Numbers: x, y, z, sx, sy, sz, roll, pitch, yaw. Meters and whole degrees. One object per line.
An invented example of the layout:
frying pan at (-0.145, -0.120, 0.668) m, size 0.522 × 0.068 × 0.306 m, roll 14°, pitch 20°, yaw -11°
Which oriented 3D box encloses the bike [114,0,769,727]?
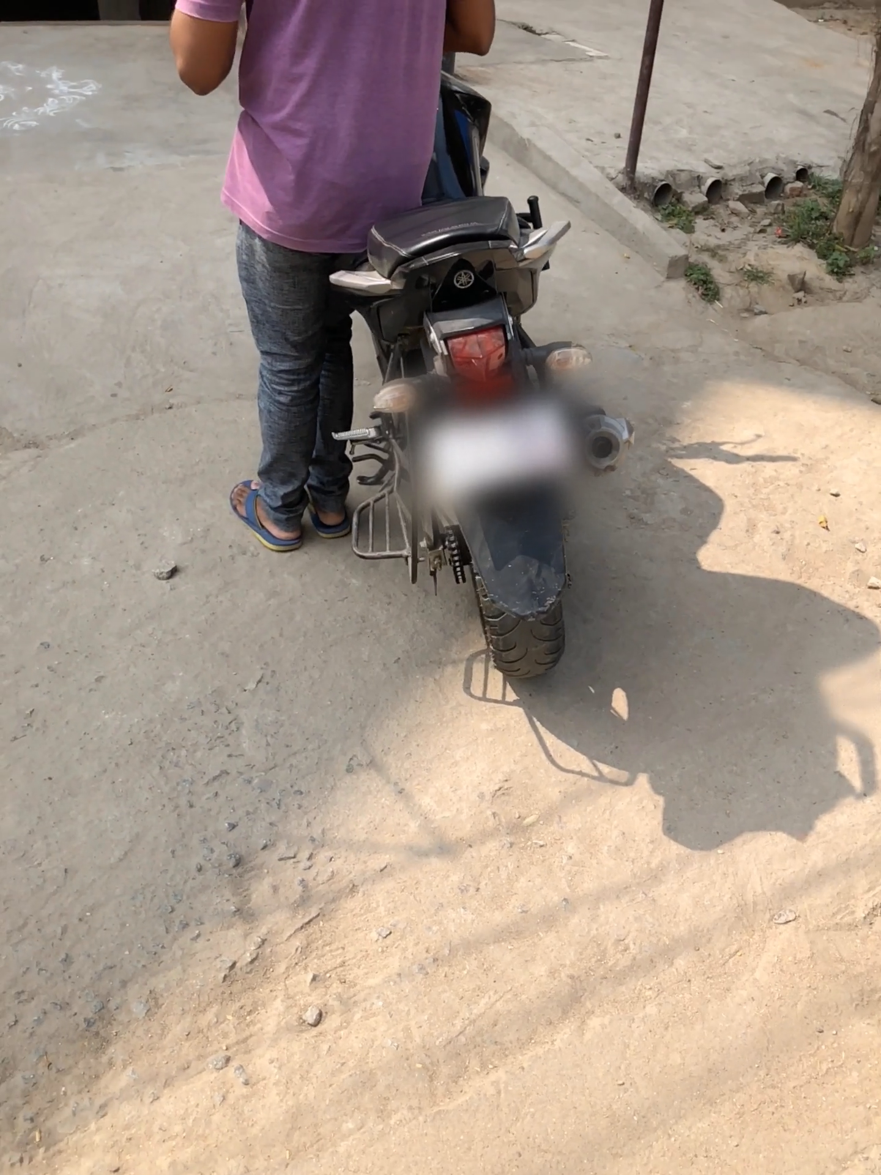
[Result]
bike at (-0.210, -0.711, 1.975) m, size 0.684 × 0.959 × 1.694 m, roll -7°, pitch 43°, yaw -14°
